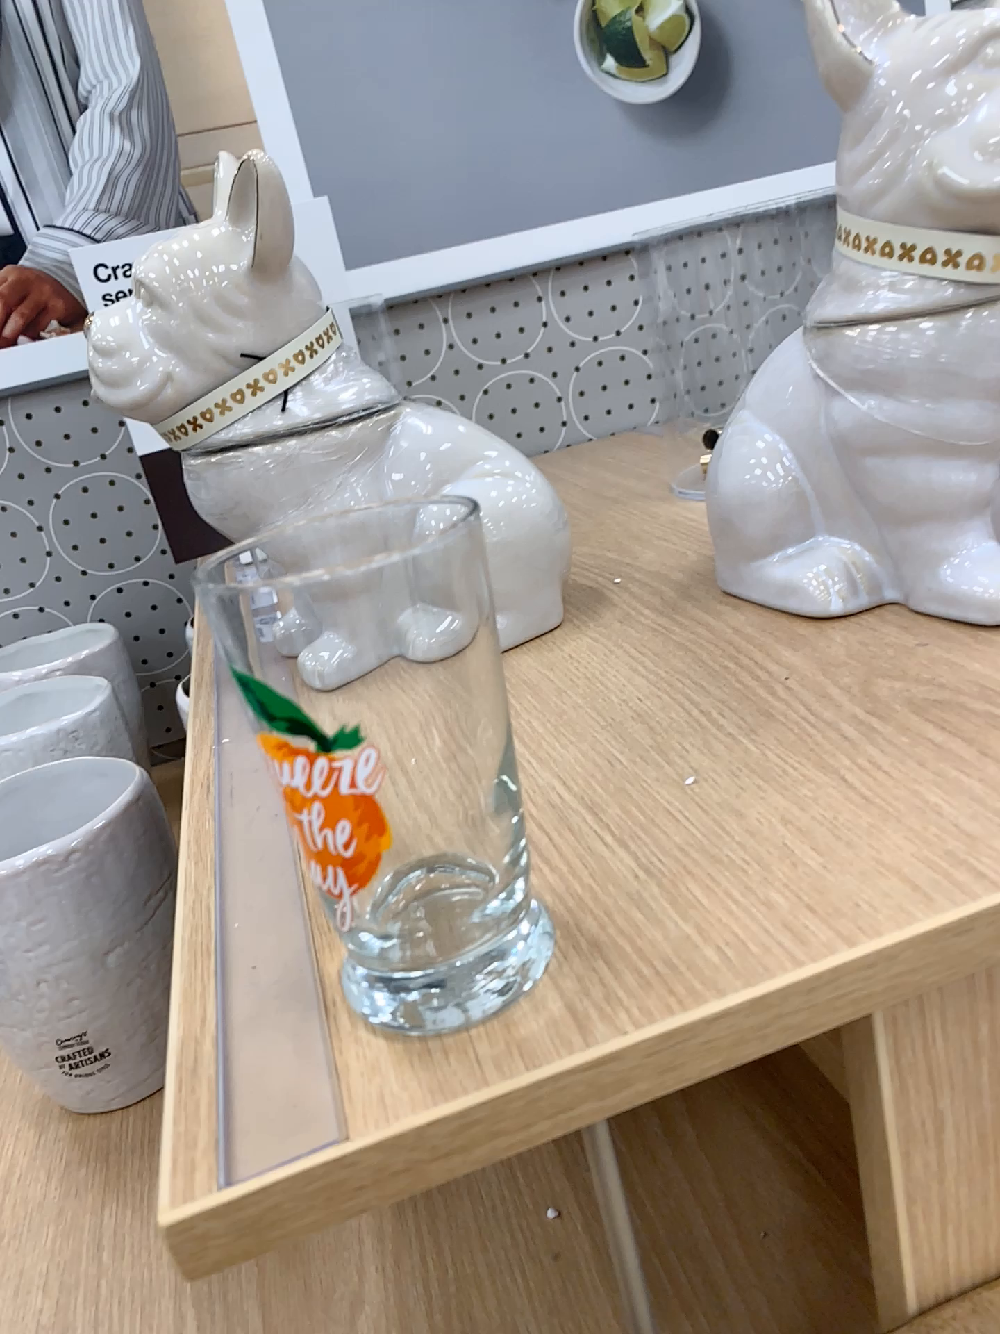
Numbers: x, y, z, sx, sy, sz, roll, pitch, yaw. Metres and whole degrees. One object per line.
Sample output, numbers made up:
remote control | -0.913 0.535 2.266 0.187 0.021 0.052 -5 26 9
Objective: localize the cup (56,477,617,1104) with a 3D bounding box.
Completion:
cup | -0.035 0.024 0.260 0.080 0.119 0.080 -12 19 4
